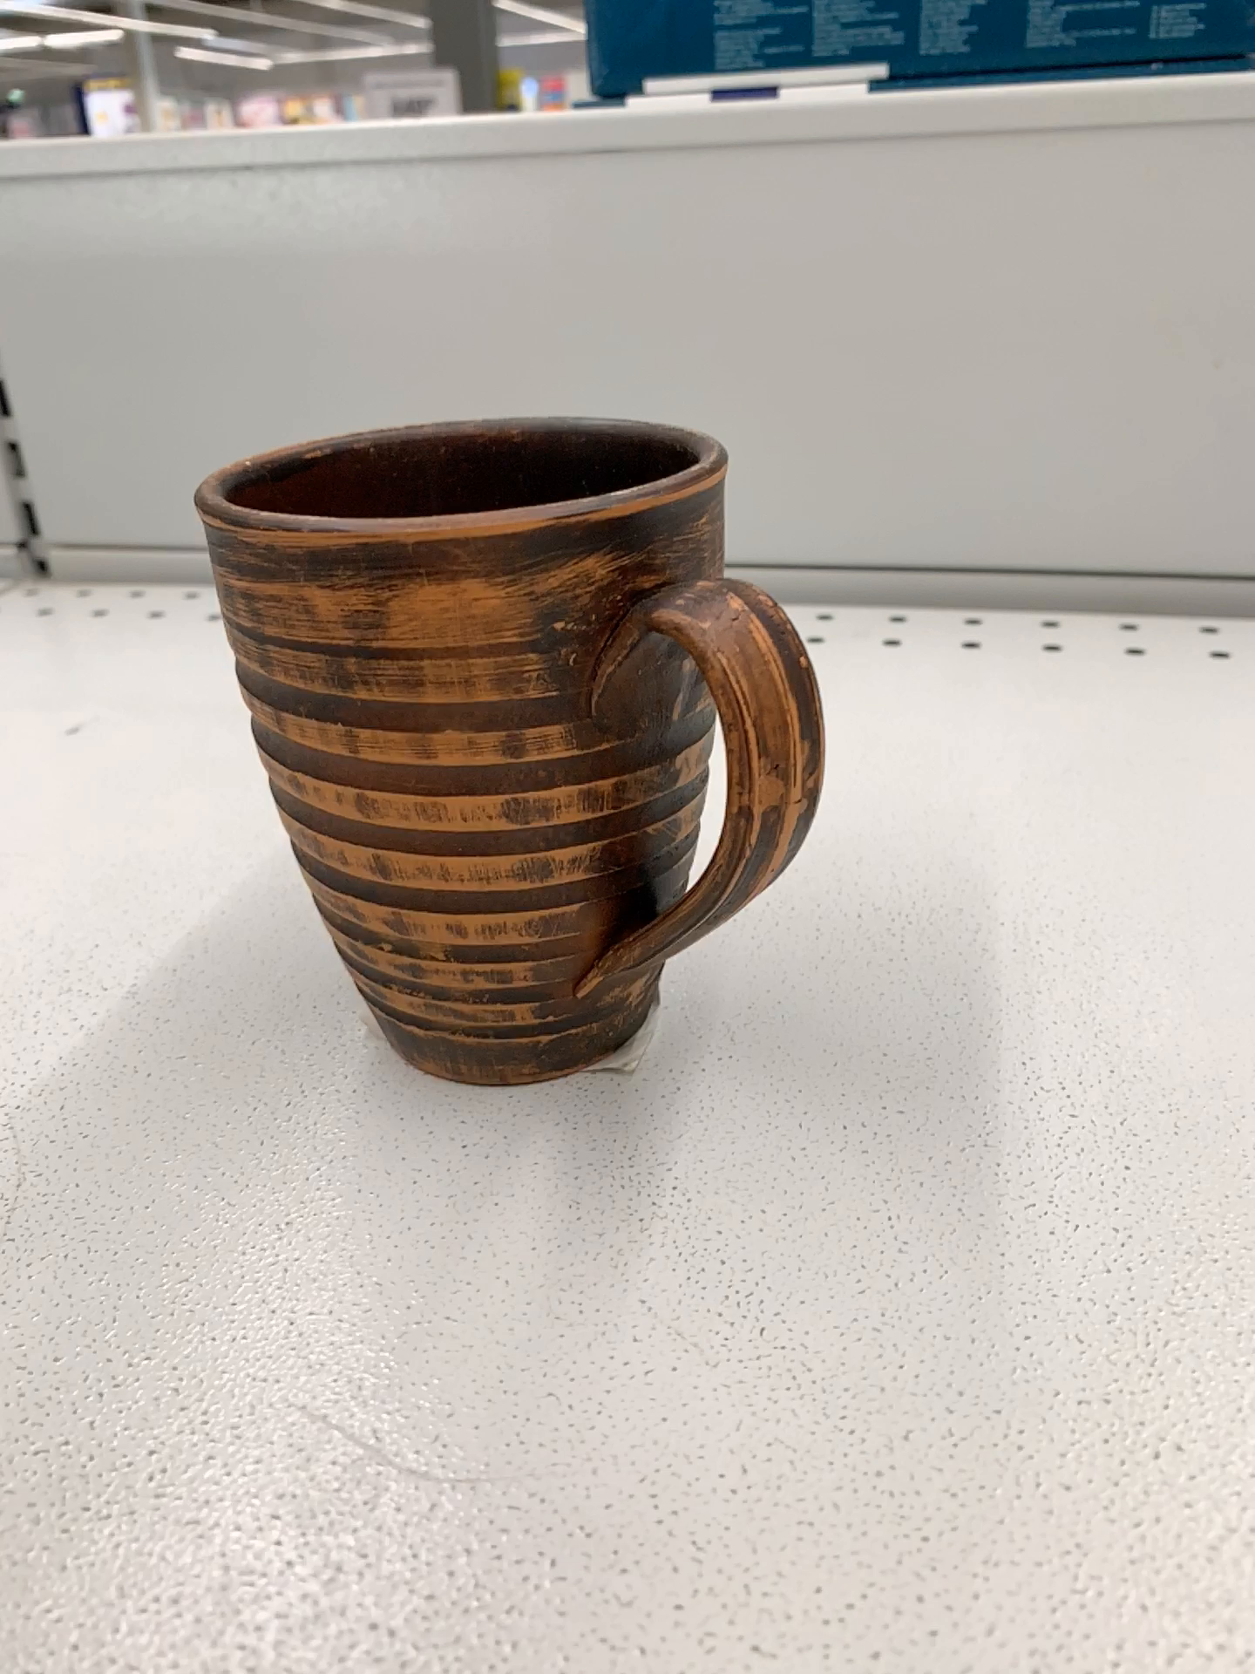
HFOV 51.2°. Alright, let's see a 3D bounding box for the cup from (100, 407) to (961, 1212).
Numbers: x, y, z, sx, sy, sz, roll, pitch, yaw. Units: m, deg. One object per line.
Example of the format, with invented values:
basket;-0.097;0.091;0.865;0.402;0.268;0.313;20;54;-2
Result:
cup;-0.014;-0.017;0.223;0.106;0.089;0.084;19;34;37
